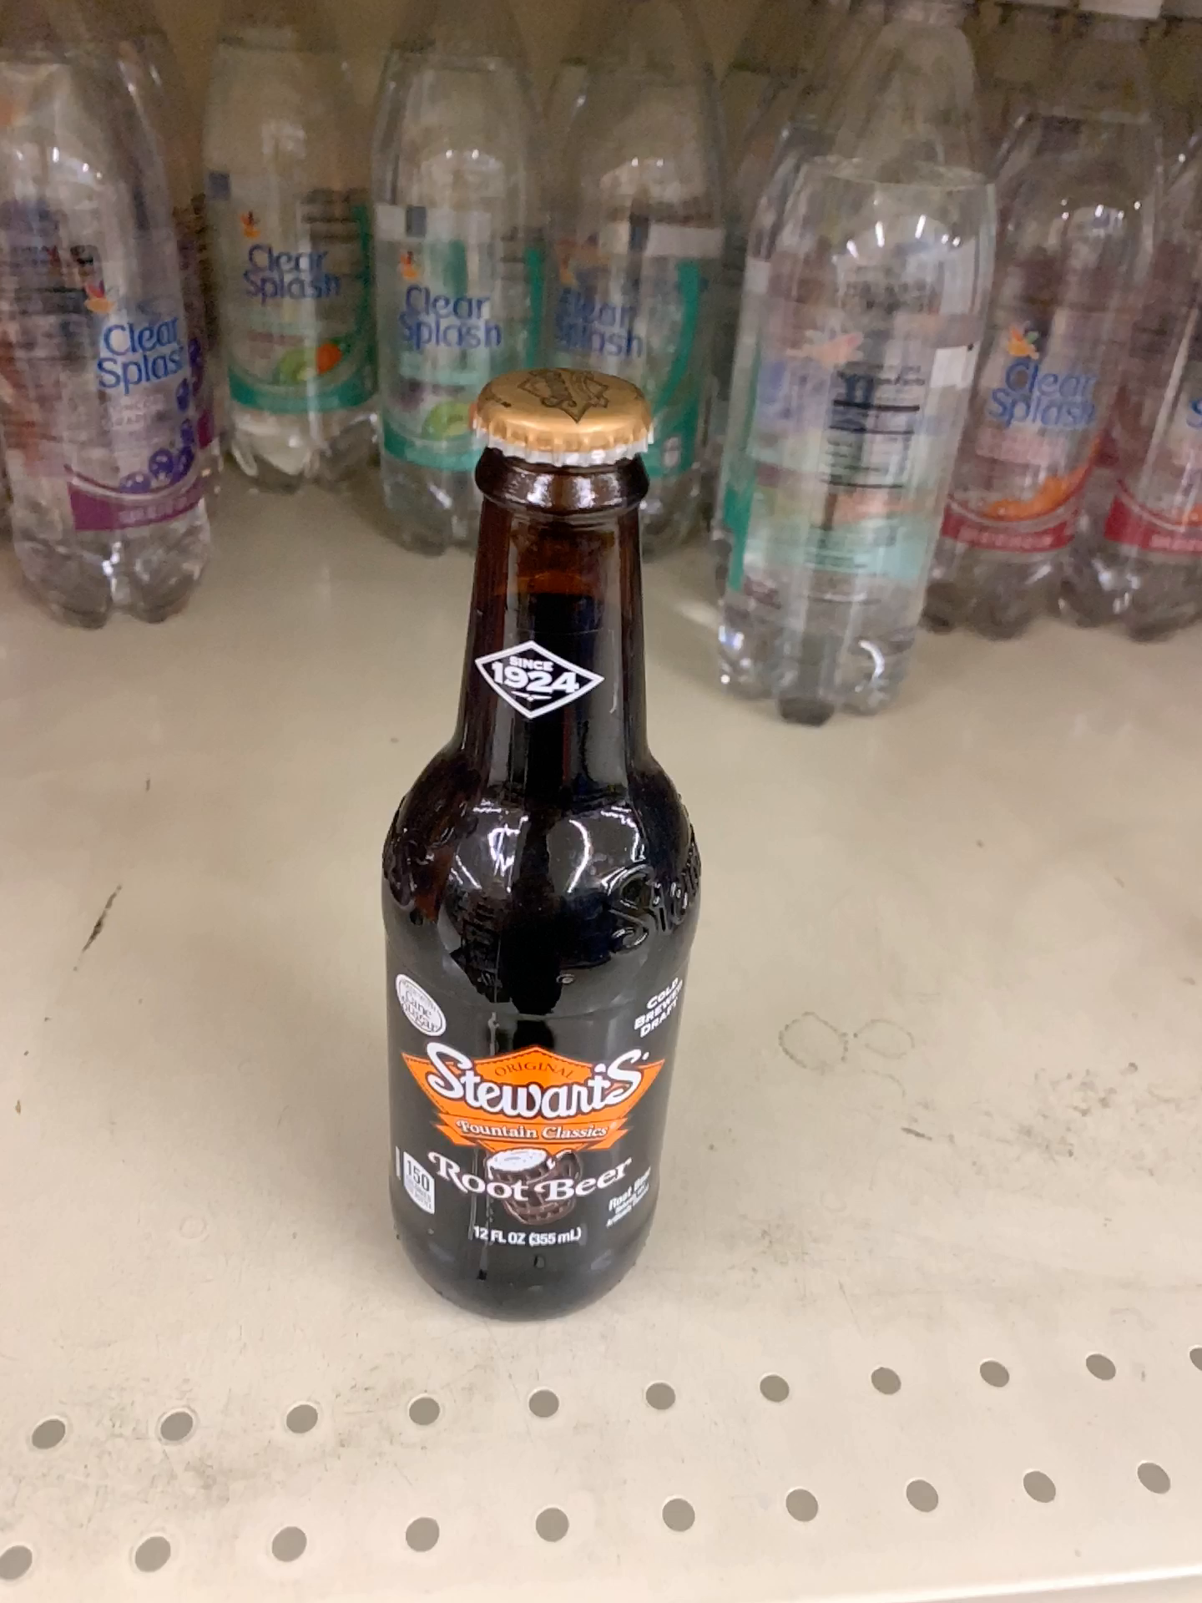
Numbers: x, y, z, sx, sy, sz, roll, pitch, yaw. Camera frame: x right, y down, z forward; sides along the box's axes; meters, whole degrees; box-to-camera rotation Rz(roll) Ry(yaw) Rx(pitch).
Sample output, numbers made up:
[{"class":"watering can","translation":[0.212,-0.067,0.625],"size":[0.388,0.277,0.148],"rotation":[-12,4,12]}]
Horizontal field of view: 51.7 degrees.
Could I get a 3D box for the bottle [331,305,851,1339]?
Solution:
[{"class":"bottle","translation":[-0.006,0.018,0.250],"size":[0.070,0.207,0.060],"rotation":[5,35,0]}]
